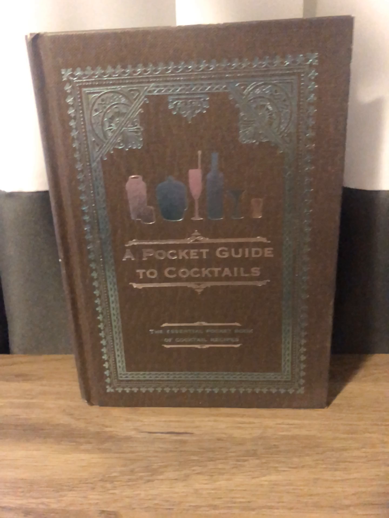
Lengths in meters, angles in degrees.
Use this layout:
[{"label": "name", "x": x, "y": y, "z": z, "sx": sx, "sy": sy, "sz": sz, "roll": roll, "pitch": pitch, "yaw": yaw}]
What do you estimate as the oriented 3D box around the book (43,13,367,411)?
[{"label": "book", "x": 0.008, "y": -0.010, "z": 0.228, "sx": 0.136, "sy": 0.200, "sz": 0.022, "roll": -1, "pitch": 20, "yaw": 4}]
